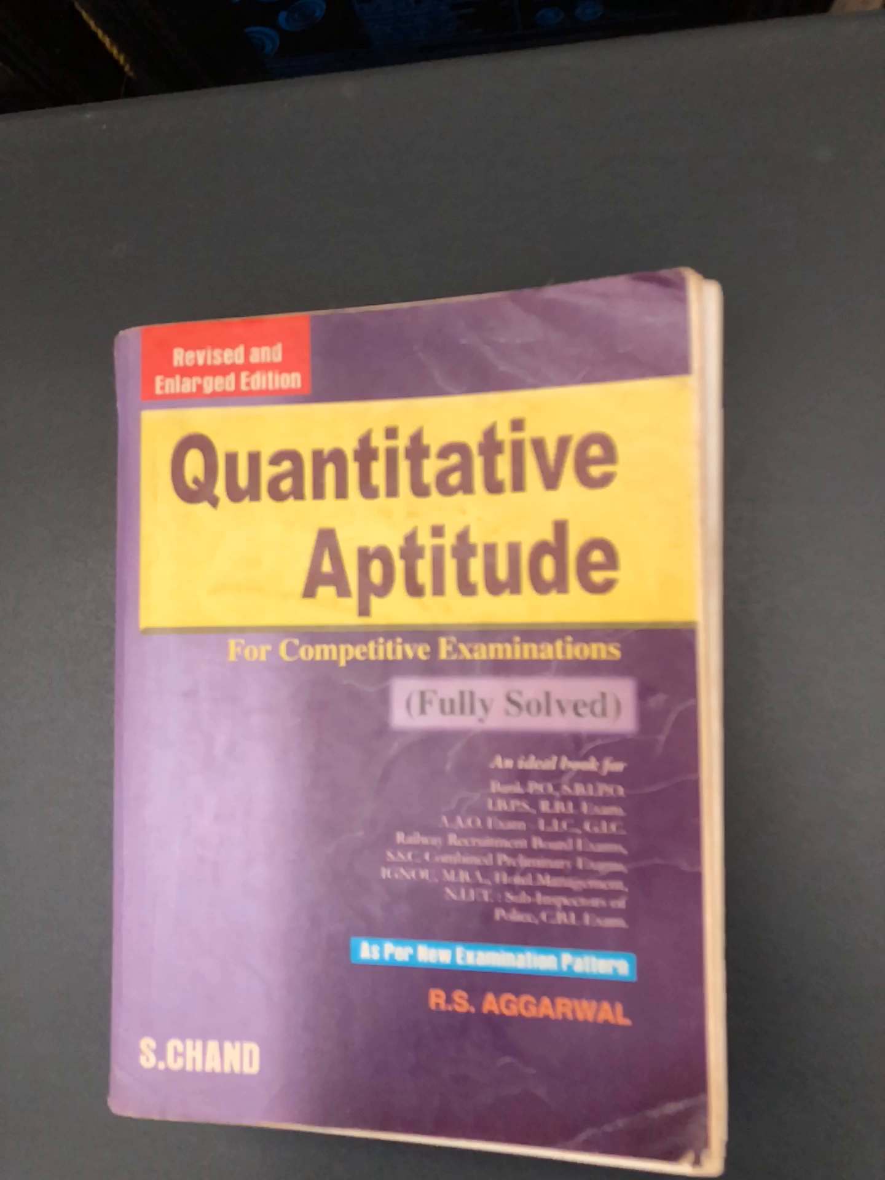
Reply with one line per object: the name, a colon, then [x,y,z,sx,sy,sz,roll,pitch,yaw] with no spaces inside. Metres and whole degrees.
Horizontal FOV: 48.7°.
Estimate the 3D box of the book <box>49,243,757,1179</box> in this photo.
book: [-0.011,0.028,0.272,0.180,0.050,0.220,0,87,11]
